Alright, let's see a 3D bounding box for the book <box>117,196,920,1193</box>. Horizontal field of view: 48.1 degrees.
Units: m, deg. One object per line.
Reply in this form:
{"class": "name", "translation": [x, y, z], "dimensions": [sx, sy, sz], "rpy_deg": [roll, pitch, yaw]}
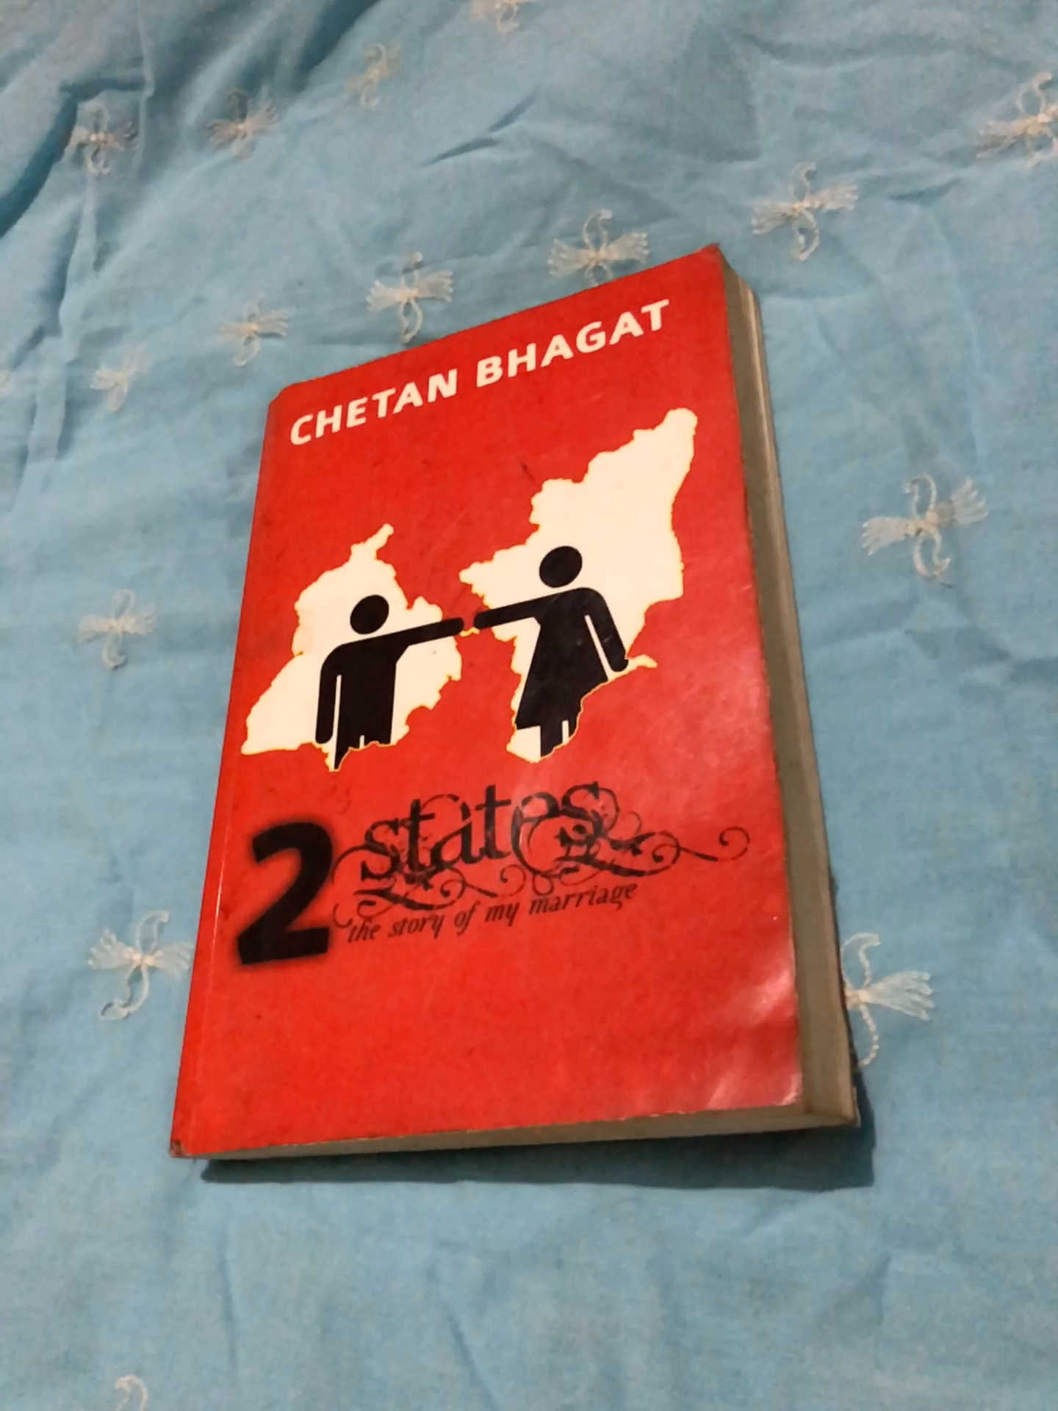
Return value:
{"class": "book", "translation": [-0.007, -0.008, 0.256], "dimensions": [0.140, 0.030, 0.200], "rpy_deg": [-12, 59, 19]}
